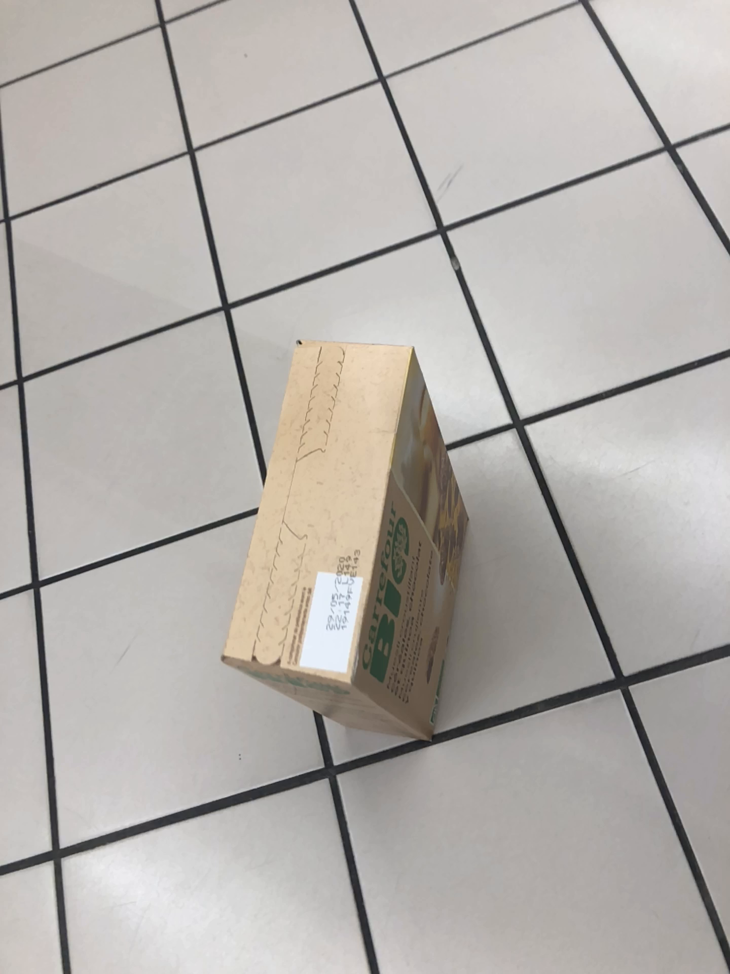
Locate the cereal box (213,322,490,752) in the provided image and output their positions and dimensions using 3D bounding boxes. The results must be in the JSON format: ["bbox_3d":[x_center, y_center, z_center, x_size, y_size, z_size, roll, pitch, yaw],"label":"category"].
[{"bbox_3d":[0.013,0.045,0.455,0.070,0.229,0.171,6,69,16],"label":"cereal box"}]
